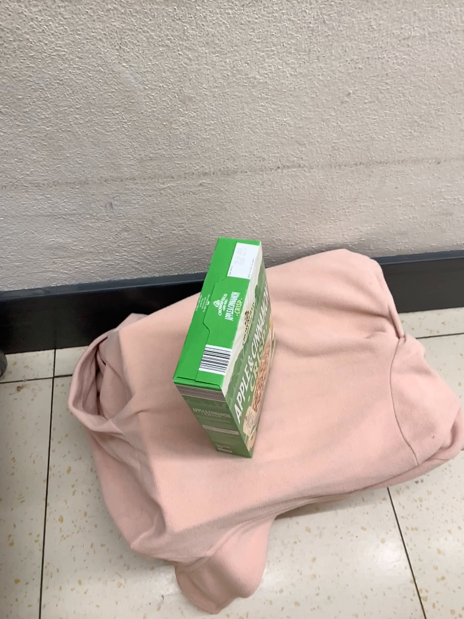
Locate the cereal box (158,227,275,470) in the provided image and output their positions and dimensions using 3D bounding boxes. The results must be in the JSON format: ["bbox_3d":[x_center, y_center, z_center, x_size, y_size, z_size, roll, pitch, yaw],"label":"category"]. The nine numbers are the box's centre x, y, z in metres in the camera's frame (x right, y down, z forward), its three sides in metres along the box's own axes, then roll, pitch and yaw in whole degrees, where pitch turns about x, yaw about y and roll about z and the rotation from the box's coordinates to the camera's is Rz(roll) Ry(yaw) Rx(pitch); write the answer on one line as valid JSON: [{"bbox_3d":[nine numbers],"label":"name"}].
[{"bbox_3d":[-0.001,0.061,0.577,0.060,0.258,0.191,9,60,13],"label":"cereal box"}]
